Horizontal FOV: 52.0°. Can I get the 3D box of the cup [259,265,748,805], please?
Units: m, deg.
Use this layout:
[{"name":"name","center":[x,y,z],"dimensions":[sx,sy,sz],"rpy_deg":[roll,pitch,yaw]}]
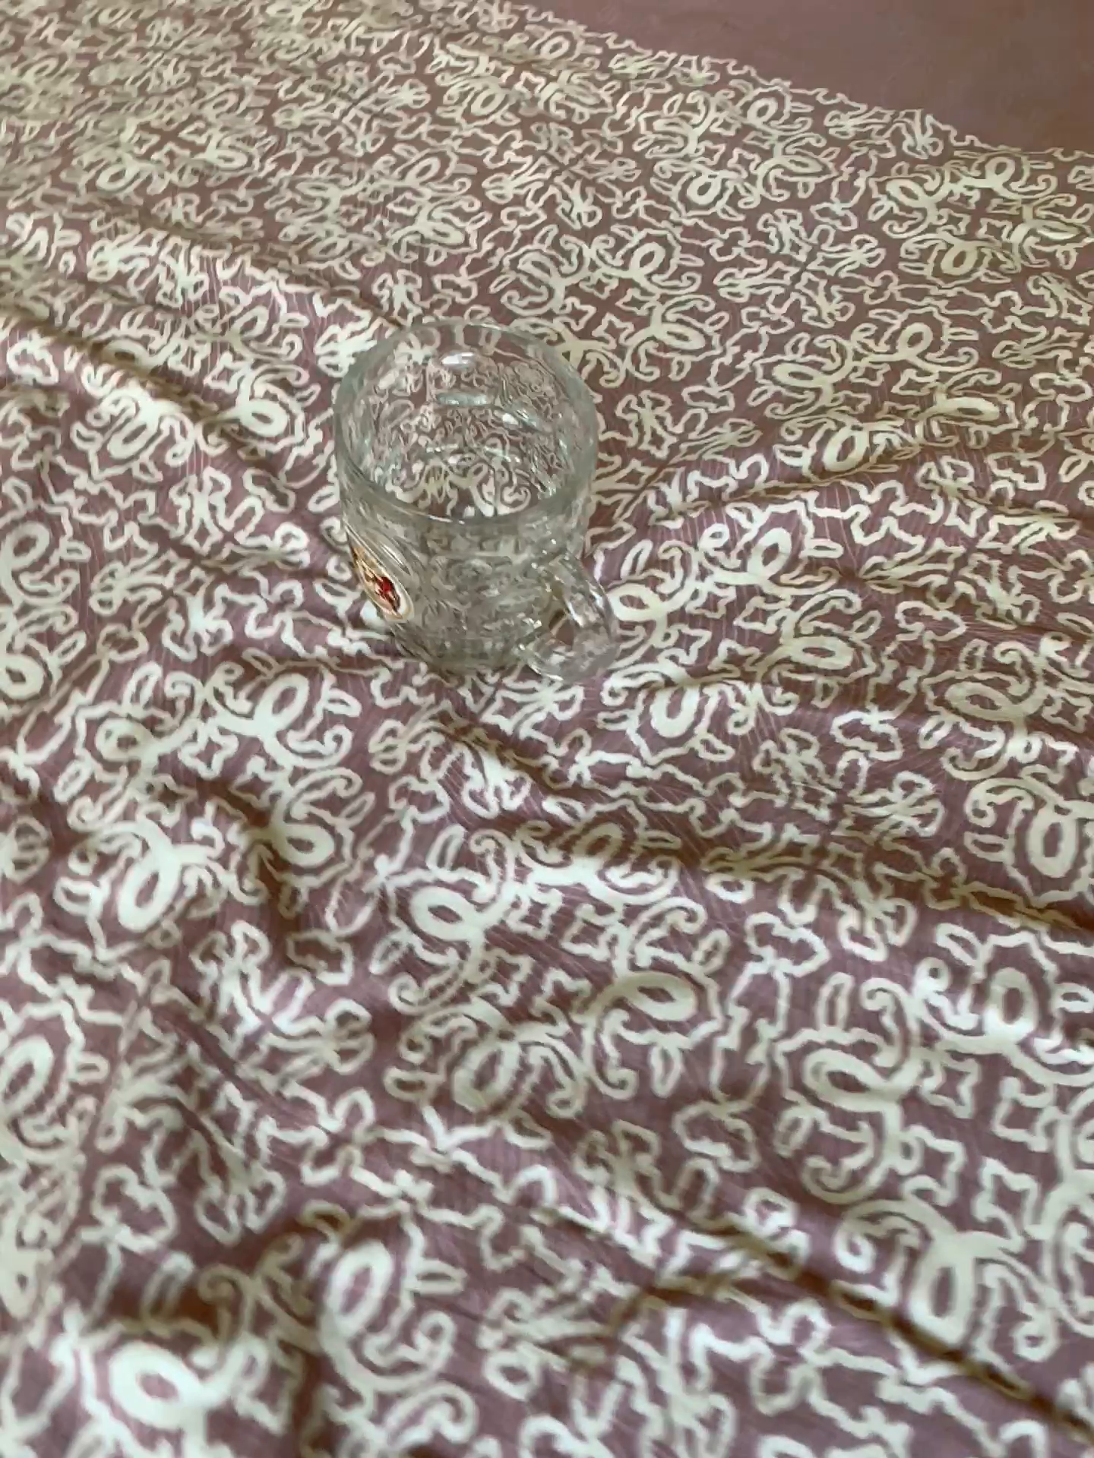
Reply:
[{"name":"cup","center":[-0.014,-0.068,0.398],"dimensions":[0.090,0.109,0.130],"rpy_deg":[-38,64,-21]}]
